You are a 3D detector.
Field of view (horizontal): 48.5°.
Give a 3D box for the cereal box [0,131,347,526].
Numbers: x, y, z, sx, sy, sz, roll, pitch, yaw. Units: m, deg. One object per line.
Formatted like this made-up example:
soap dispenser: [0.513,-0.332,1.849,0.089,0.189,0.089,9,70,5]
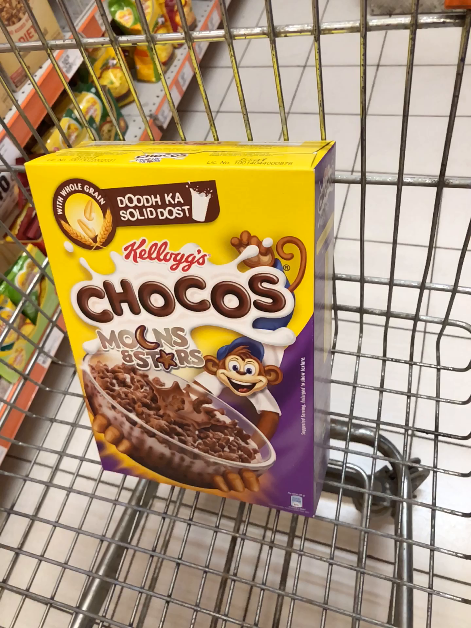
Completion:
cereal box: [-0.030,0.011,0.361,0.190,0.249,0.070,6,29,17]
